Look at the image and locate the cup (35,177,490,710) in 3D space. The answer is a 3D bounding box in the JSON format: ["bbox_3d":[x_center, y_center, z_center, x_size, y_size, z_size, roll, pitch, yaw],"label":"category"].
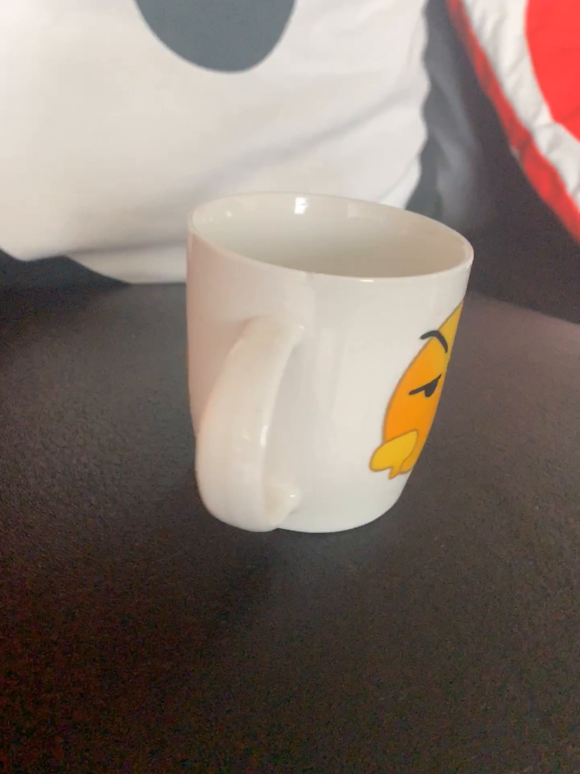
[{"bbox_3d":[0.001,0.001,0.189,0.080,0.099,0.121,17,30,18],"label":"cup"}]
